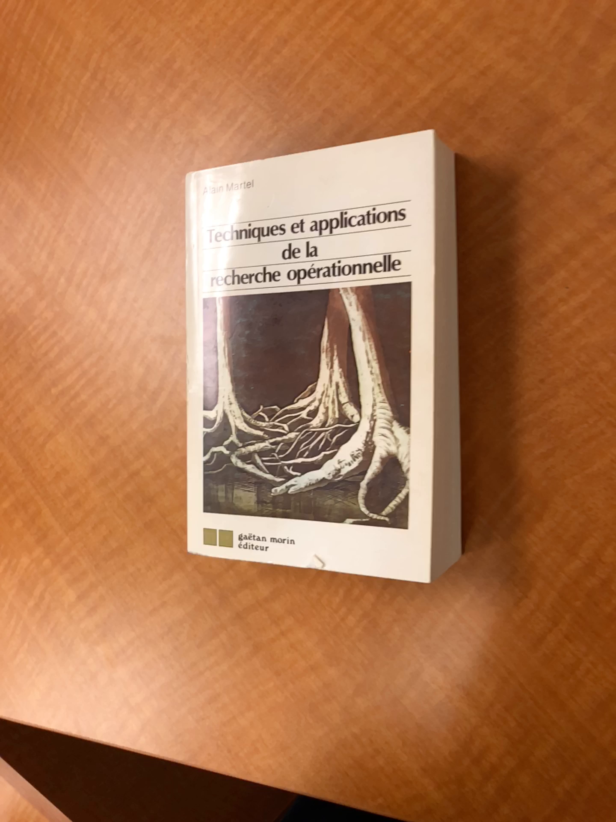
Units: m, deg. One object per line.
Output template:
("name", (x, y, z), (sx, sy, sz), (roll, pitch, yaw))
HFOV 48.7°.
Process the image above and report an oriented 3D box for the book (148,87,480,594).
("book", (0.002, -0.032, 0.378), (0.170, 0.070, 0.230), (0, 90, 26))
